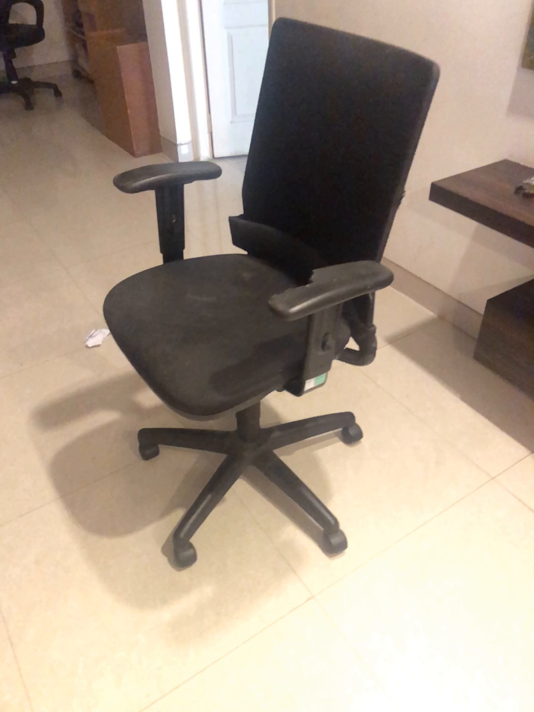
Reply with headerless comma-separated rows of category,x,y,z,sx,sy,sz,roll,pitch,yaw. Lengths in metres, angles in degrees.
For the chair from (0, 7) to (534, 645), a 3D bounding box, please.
chair,-0.040,-0.104,1.311,0.702,1.042,0.714,-25,44,-26
